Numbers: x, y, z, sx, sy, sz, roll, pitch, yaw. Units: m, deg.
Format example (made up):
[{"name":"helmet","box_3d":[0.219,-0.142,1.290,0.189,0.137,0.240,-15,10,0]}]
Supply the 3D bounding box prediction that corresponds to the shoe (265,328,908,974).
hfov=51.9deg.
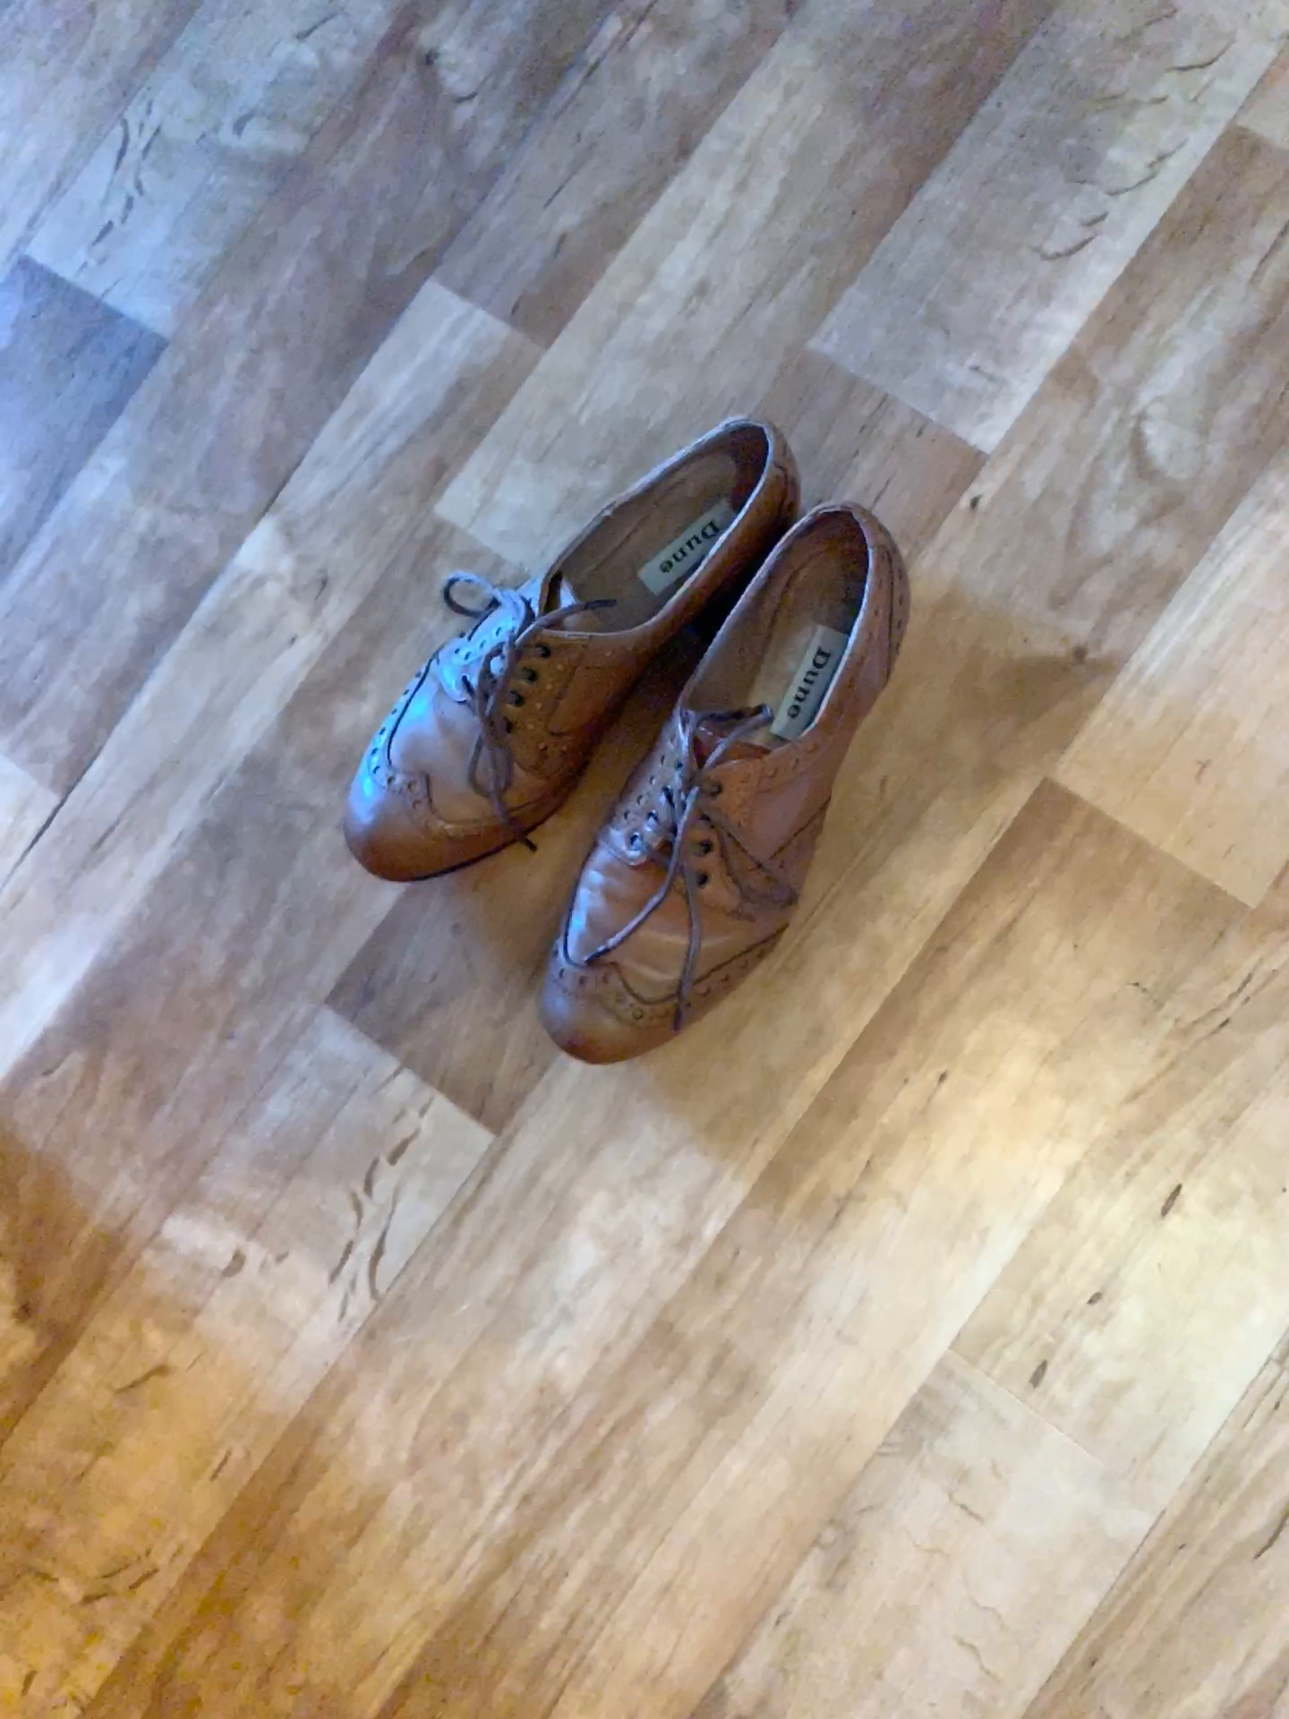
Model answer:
[{"name":"shoe","box_3d":[-0.015,-0.073,0.540,0.240,0.120,0.090,-44,78,0]}]

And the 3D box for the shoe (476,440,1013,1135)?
[{"name":"shoe","box_3d":[0.042,-0.019,0.508,0.080,0.120,0.230,29,87,12]}]
